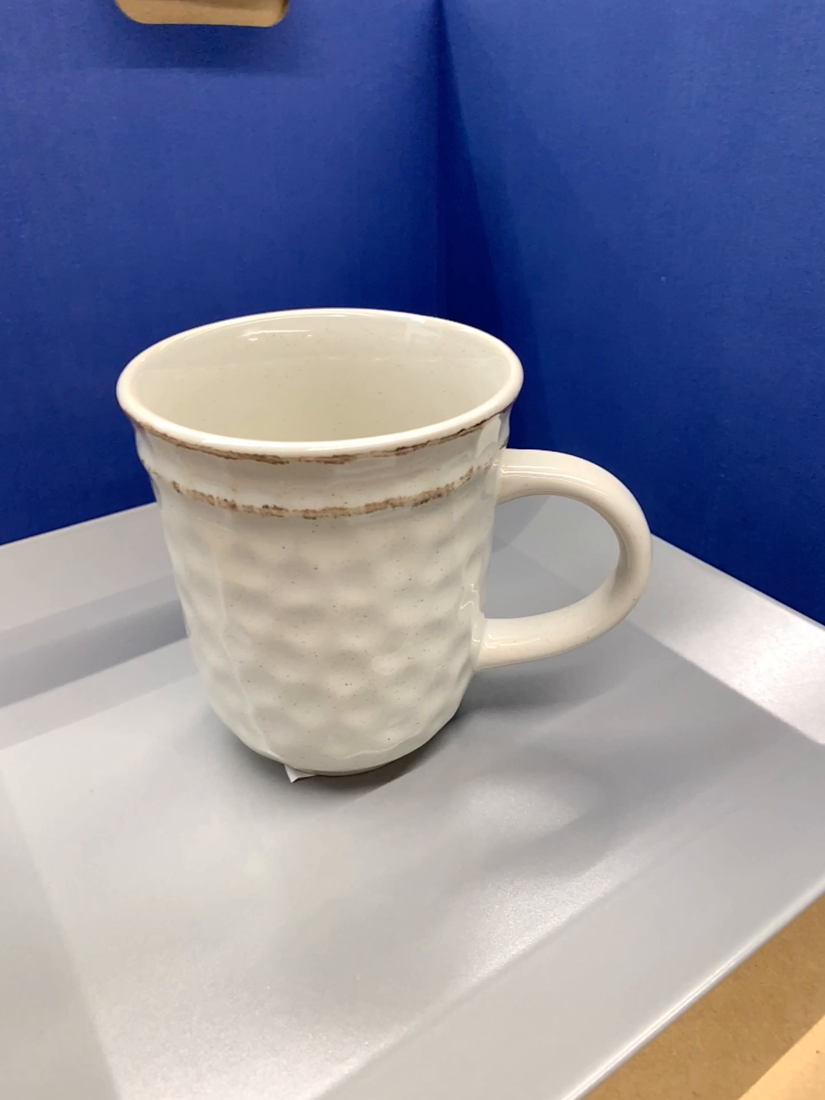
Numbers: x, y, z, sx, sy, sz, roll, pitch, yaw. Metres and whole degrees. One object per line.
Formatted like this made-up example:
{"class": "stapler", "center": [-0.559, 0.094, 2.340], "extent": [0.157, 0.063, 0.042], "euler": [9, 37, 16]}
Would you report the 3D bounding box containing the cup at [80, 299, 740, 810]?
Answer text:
{"class": "cup", "center": [-0.005, -0.009, 0.221], "extent": [0.123, 0.082, 0.102], "euler": [-5, 29, -8]}
